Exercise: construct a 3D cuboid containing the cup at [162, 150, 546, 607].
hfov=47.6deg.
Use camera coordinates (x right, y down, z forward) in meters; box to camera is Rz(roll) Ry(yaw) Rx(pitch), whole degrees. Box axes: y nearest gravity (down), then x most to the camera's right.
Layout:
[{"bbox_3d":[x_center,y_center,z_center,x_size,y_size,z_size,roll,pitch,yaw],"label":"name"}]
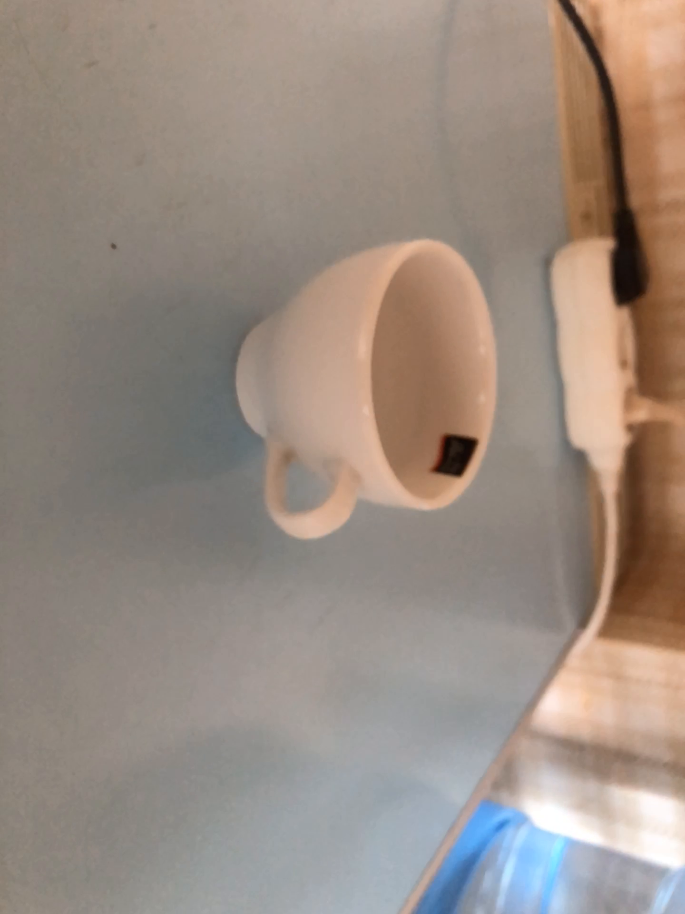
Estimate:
[{"bbox_3d":[0.013,-0.022,0.259,0.089,0.065,0.111,45,56,-47],"label":"cup"}]
